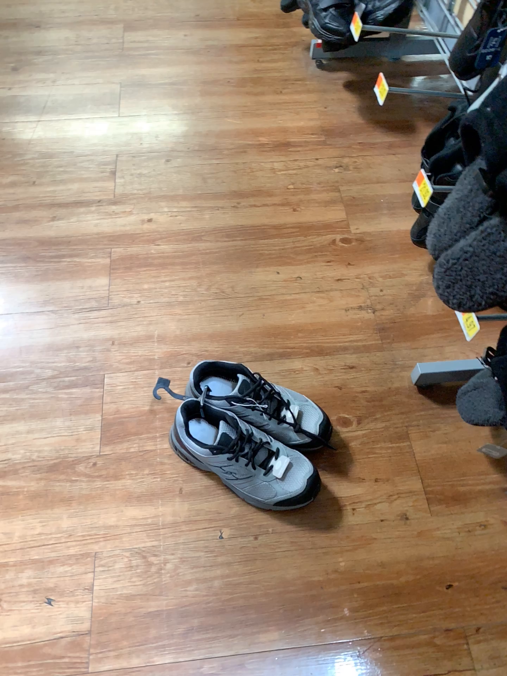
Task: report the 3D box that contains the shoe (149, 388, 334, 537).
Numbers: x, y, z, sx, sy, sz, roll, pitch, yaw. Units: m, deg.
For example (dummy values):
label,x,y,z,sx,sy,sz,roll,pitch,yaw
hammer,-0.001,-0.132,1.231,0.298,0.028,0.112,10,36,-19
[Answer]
label,x,y,z,sx,sy,sz,roll,pitch,yaw
shoe,-0.024,0.225,0.948,0.308,0.089,0.117,25,61,14

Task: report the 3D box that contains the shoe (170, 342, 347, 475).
label,x,y,z,sx,sy,sz,roll,pitch,yaw
shoe,0.008,0.135,1.008,0.309,0.099,0.124,21,60,12
